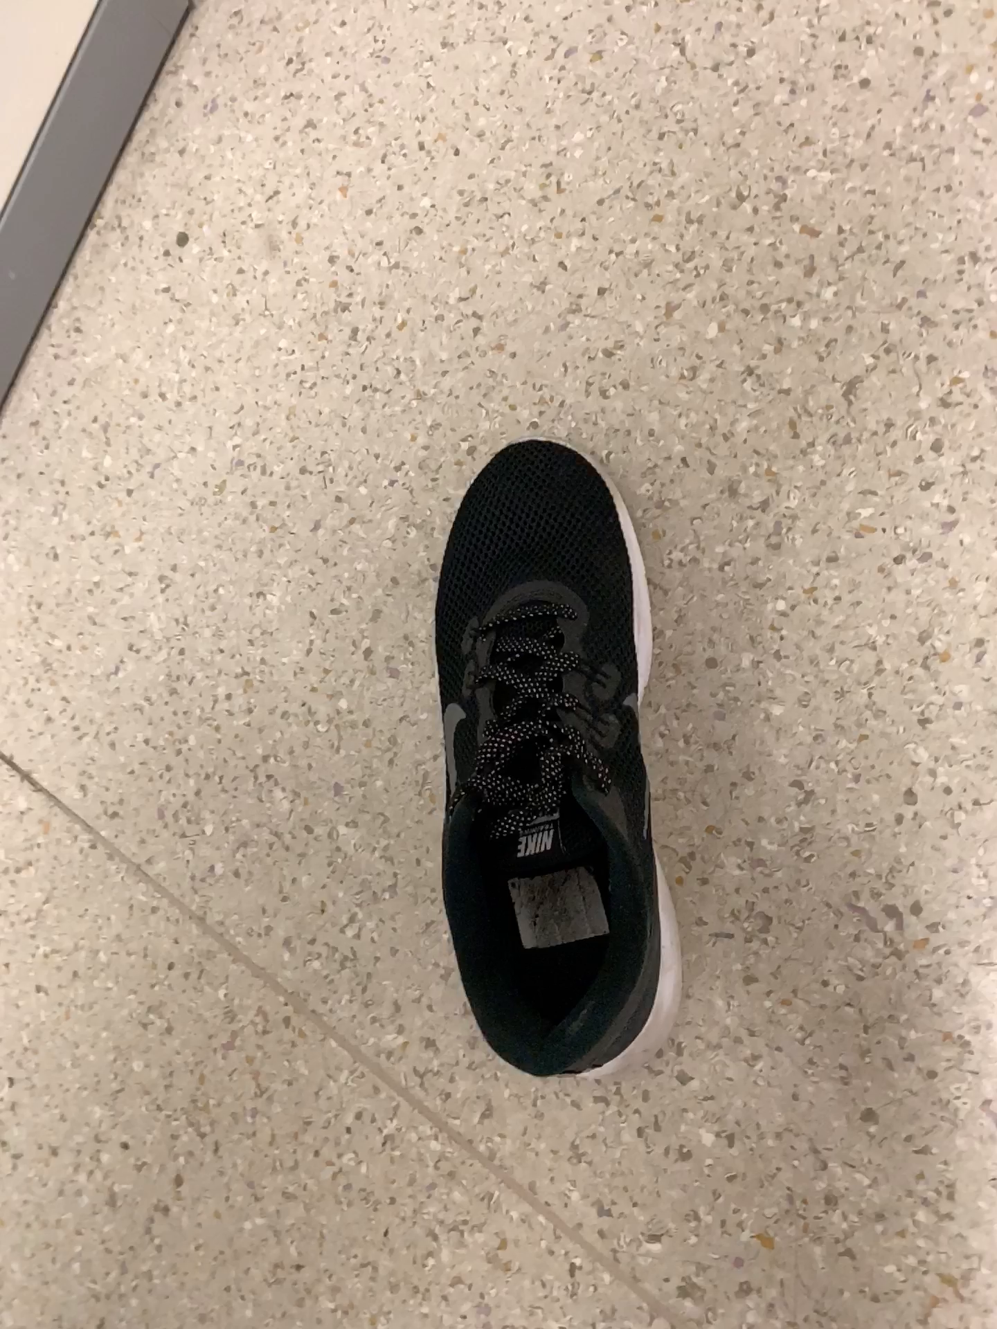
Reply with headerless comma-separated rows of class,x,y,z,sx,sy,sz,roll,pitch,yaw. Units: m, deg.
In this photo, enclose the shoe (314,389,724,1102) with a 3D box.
shoe,0.008,0.035,0.425,0.113,0.094,0.253,-12,77,21
